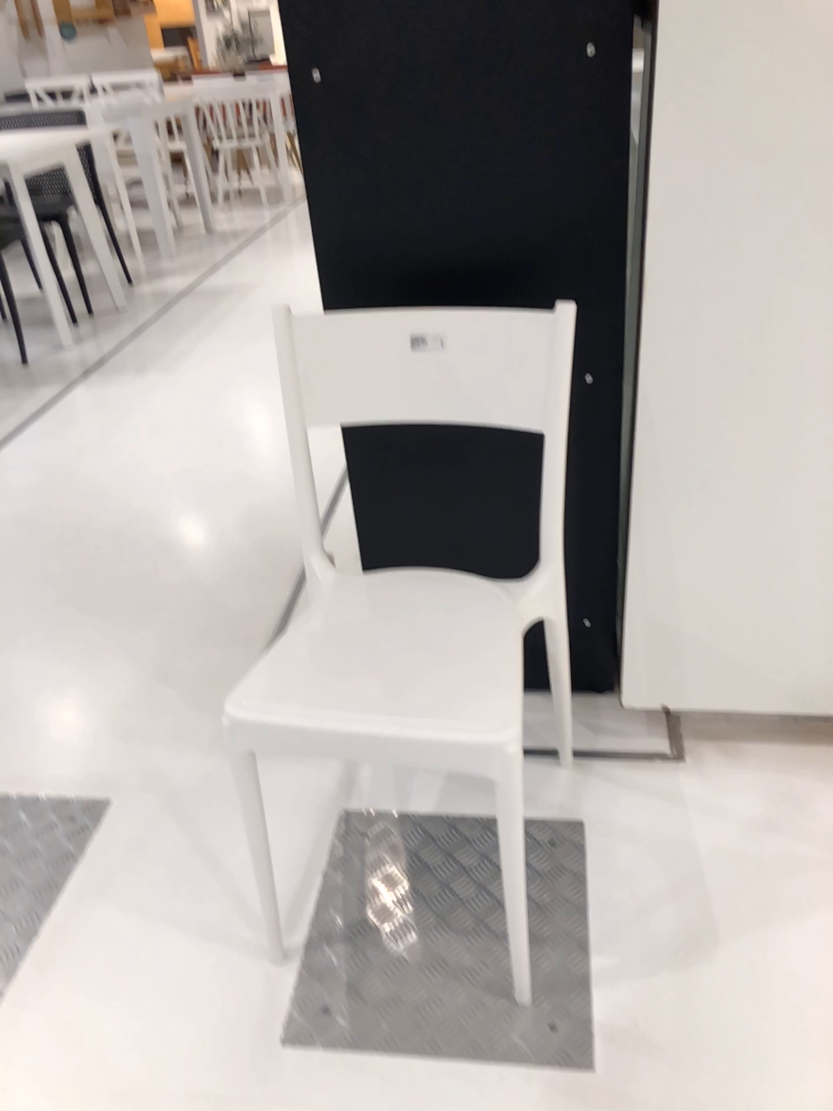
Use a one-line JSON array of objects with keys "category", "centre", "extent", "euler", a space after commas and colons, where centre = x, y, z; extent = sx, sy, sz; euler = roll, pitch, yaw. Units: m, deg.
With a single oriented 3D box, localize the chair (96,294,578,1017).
[{"category": "chair", "centre": [-0.016, 0.114, 1.193], "extent": [0.410, 0.764, 0.484], "euler": [2, 32, 13]}]
